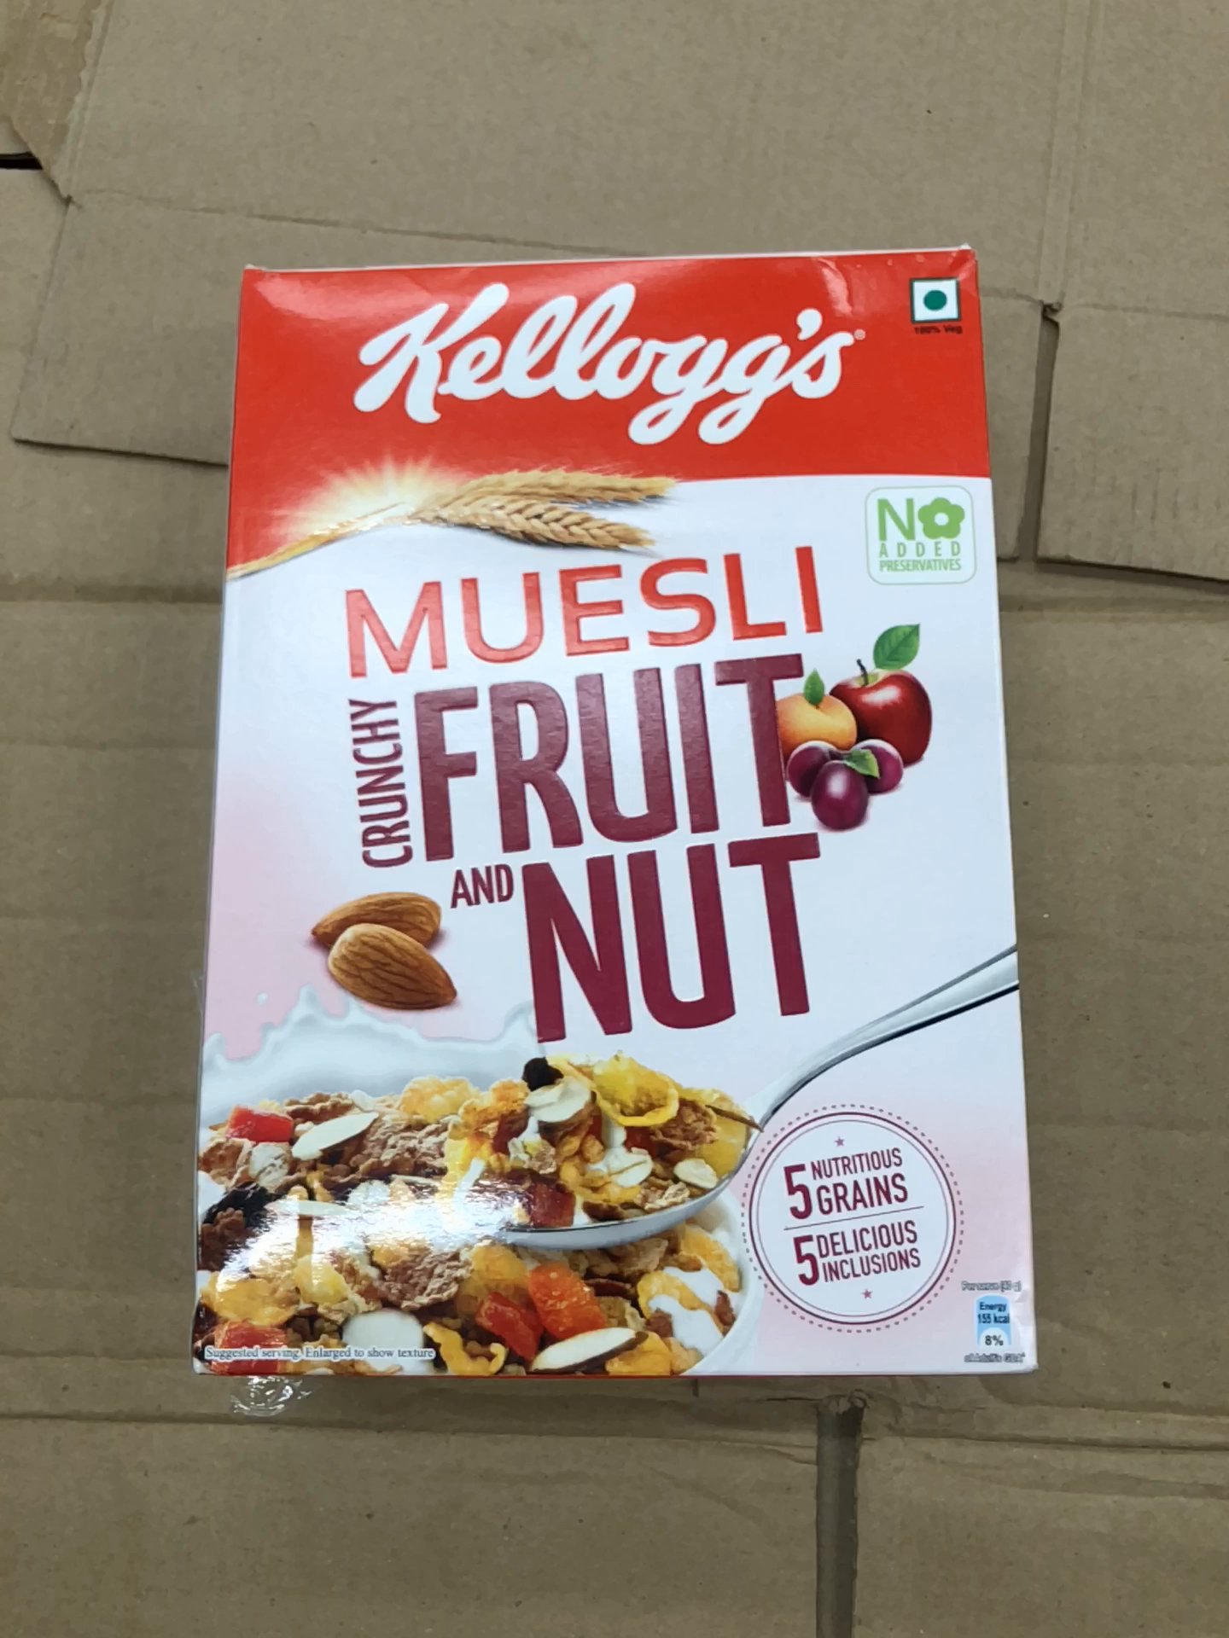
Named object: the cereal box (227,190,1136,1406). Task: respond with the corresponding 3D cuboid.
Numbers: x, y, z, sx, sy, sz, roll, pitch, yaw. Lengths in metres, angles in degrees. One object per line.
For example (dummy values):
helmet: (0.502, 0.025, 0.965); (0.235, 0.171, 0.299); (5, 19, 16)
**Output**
cereal box: (0.011, -0.006, 0.319); (0.170, 0.080, 0.250); (-1, 79, 2)
